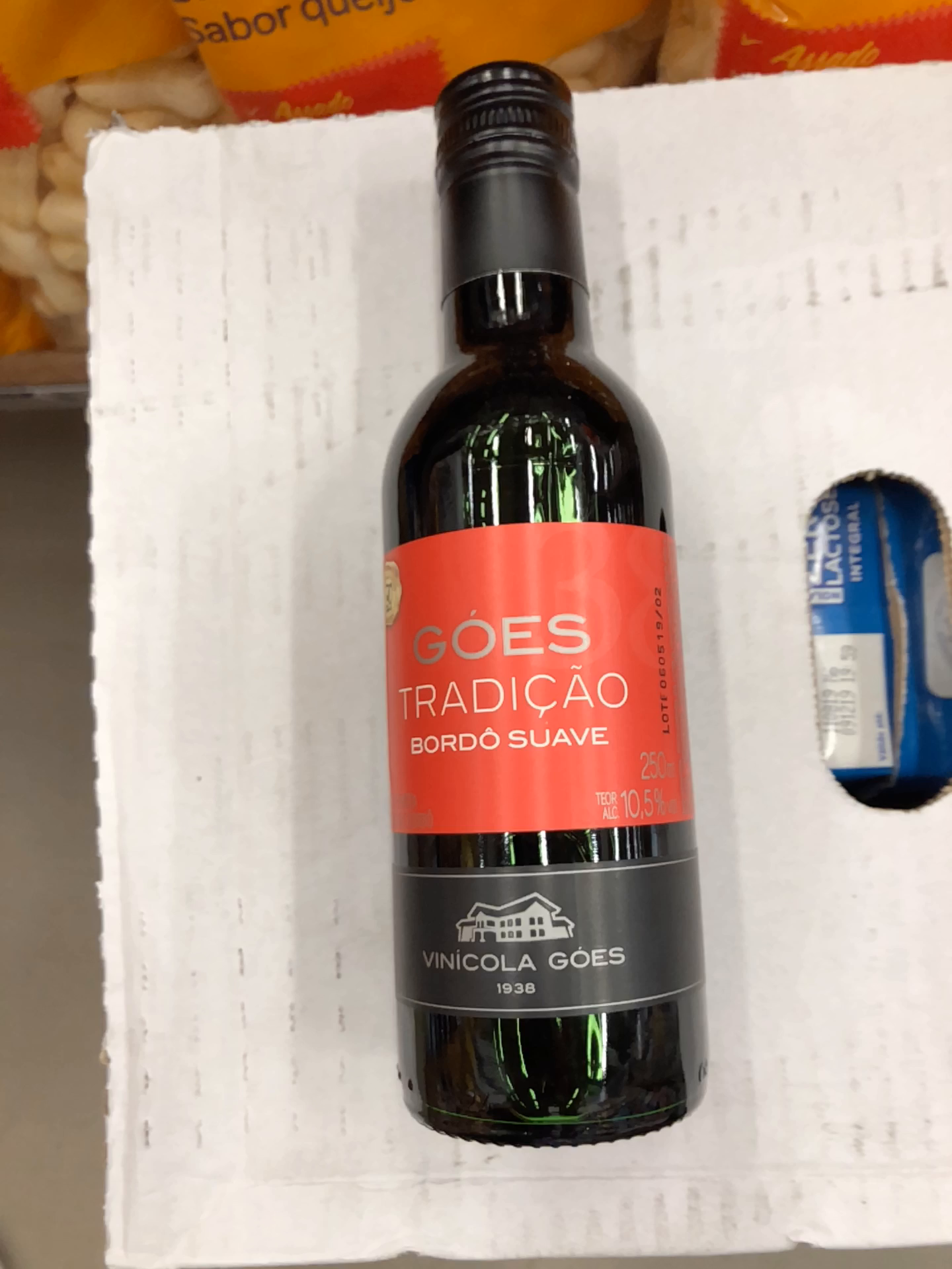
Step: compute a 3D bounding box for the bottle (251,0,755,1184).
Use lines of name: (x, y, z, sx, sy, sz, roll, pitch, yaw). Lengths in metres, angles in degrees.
bottle: (0.003, -0.024, 0.191, 0.060, 0.050, 0.210, -6, 82, 6)
